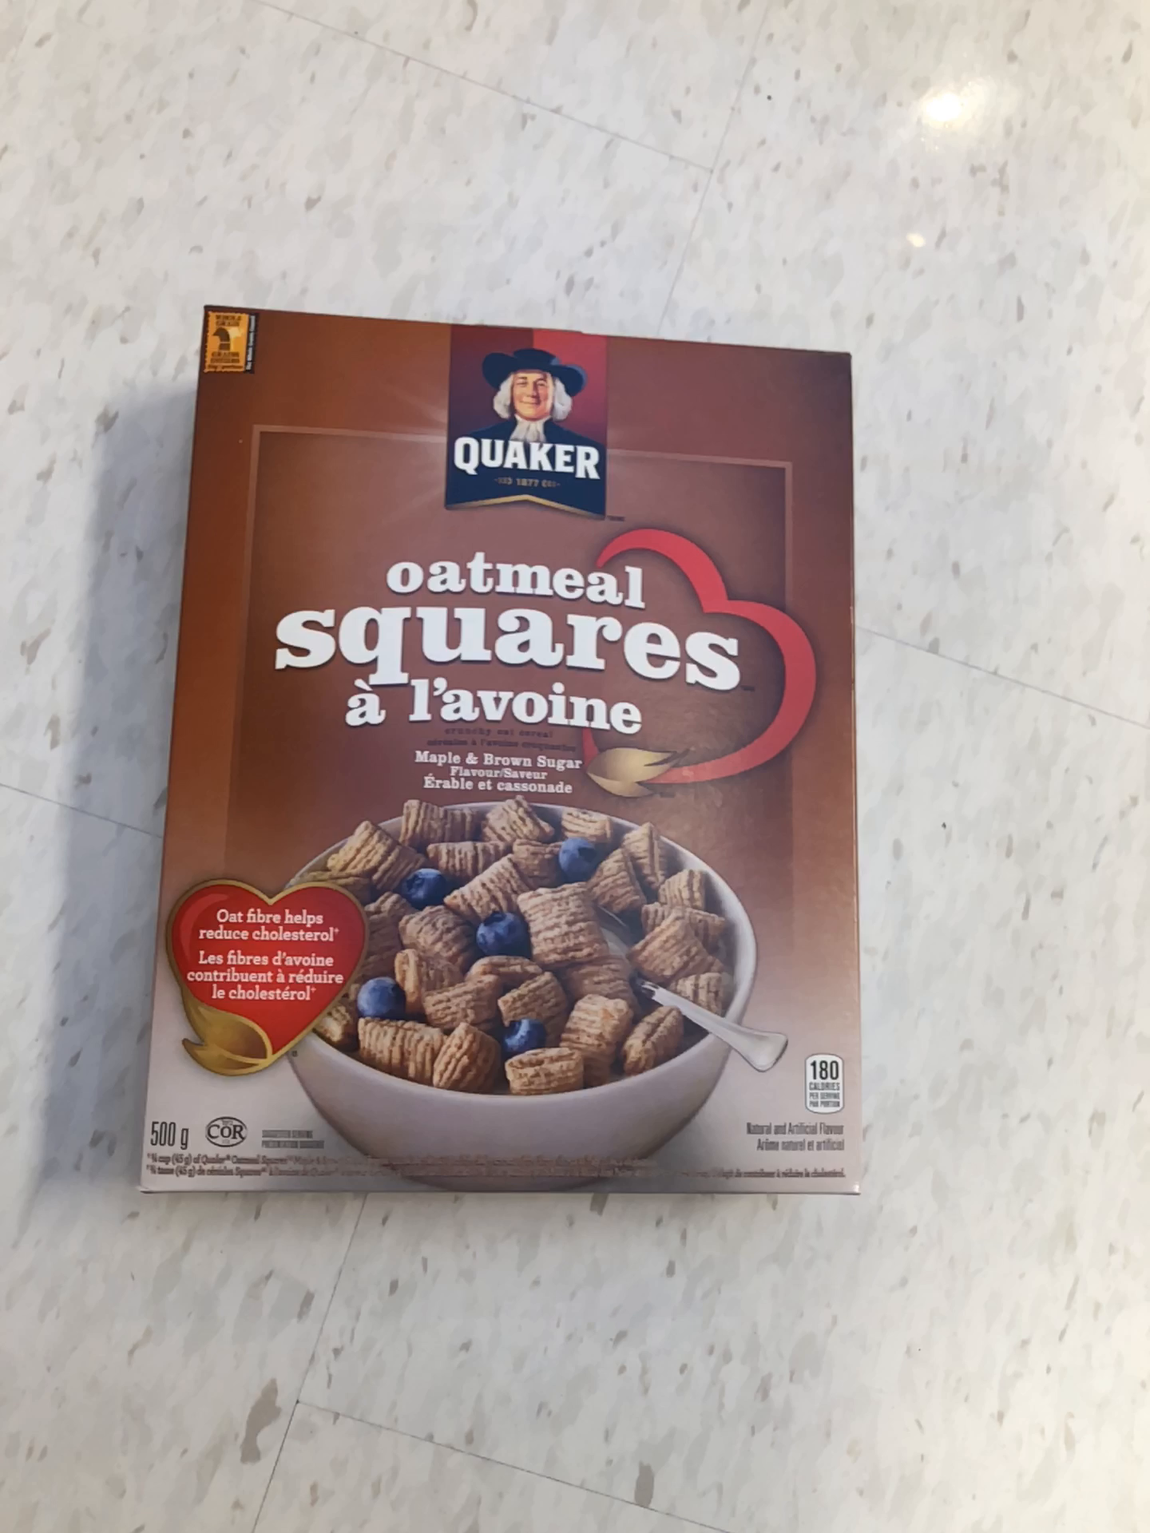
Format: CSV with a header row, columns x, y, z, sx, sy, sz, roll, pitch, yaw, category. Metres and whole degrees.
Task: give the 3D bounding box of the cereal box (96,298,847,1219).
x,y,z,sx,sy,sz,roll,pitch,yaw,category
-0.027,-0.001,0.412,0.210,0.070,0.270,2,80,-6,cereal box
